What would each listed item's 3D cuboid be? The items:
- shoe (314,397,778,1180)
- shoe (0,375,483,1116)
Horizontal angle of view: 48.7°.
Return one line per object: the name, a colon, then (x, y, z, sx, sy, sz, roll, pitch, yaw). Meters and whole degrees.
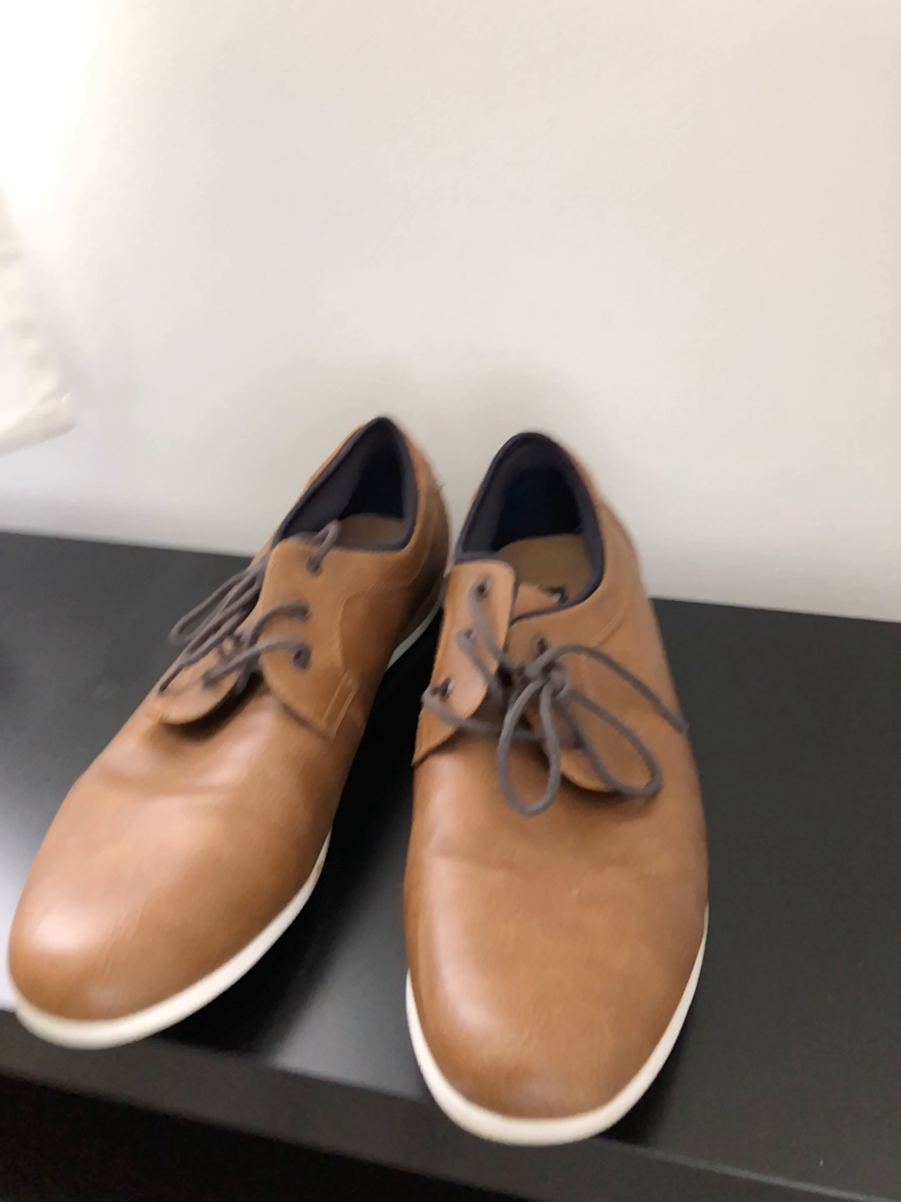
shoe: (0.040, 0.035, 0.365, 0.104, 0.100, 0.281, 2, 38, 7)
shoe: (-0.080, 0.023, 0.377, 0.104, 0.100, 0.271, 10, 39, 17)
